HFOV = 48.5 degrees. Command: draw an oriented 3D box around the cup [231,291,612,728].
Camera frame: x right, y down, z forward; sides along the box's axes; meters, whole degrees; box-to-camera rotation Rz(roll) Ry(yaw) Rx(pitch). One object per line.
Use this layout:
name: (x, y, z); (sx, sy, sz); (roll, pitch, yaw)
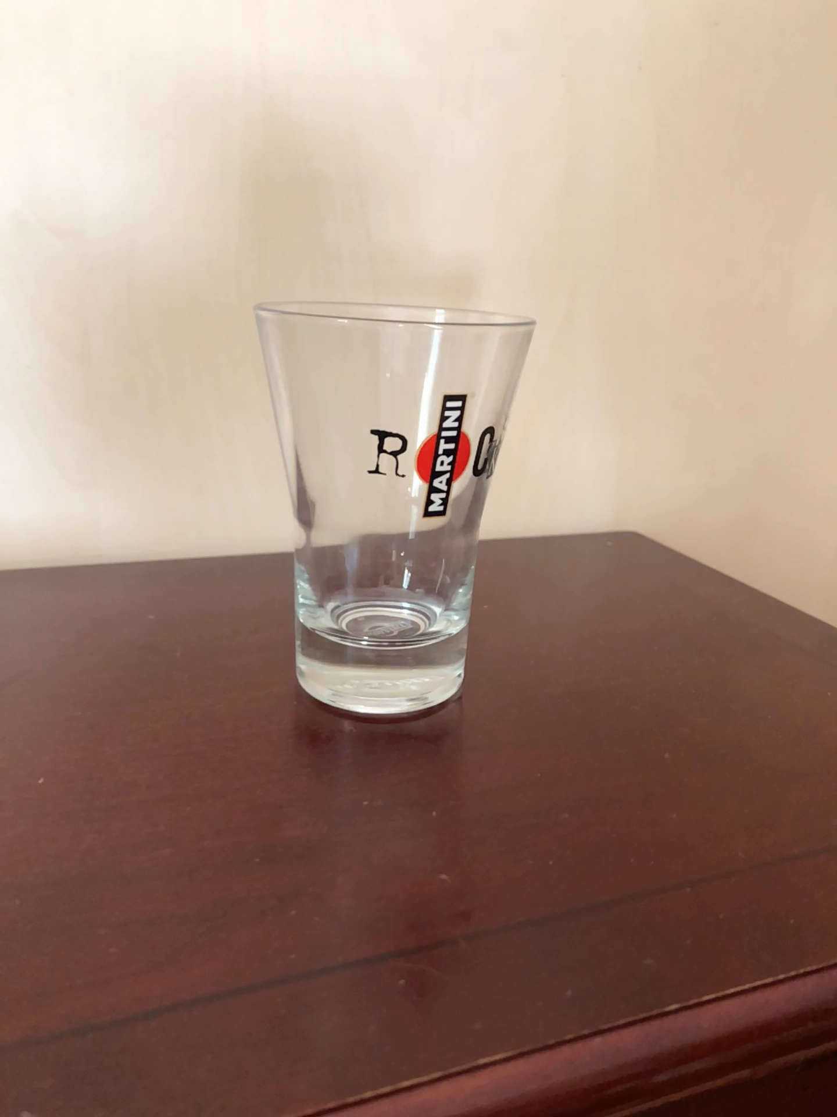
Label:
cup: (-0.007, -0.024, 0.308); (0.094, 0.118, 0.094); (2, 17, -1)
